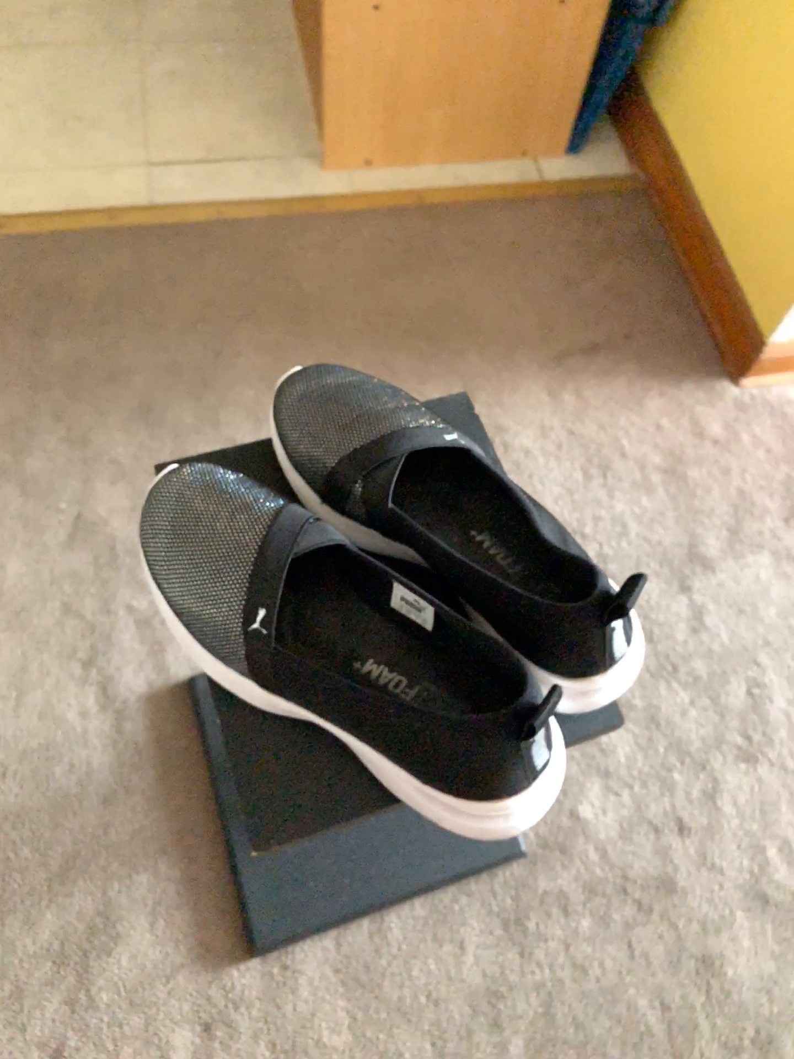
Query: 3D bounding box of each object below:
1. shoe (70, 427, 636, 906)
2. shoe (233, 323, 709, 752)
[{"bbox_3d":[-0.028,0.055,0.407,0.260,0.079,0.090,29,62,25],"label":"shoe"},{"bbox_3d":[0.029,-0.006,0.449,0.241,0.079,0.090,38,65,26],"label":"shoe"}]
